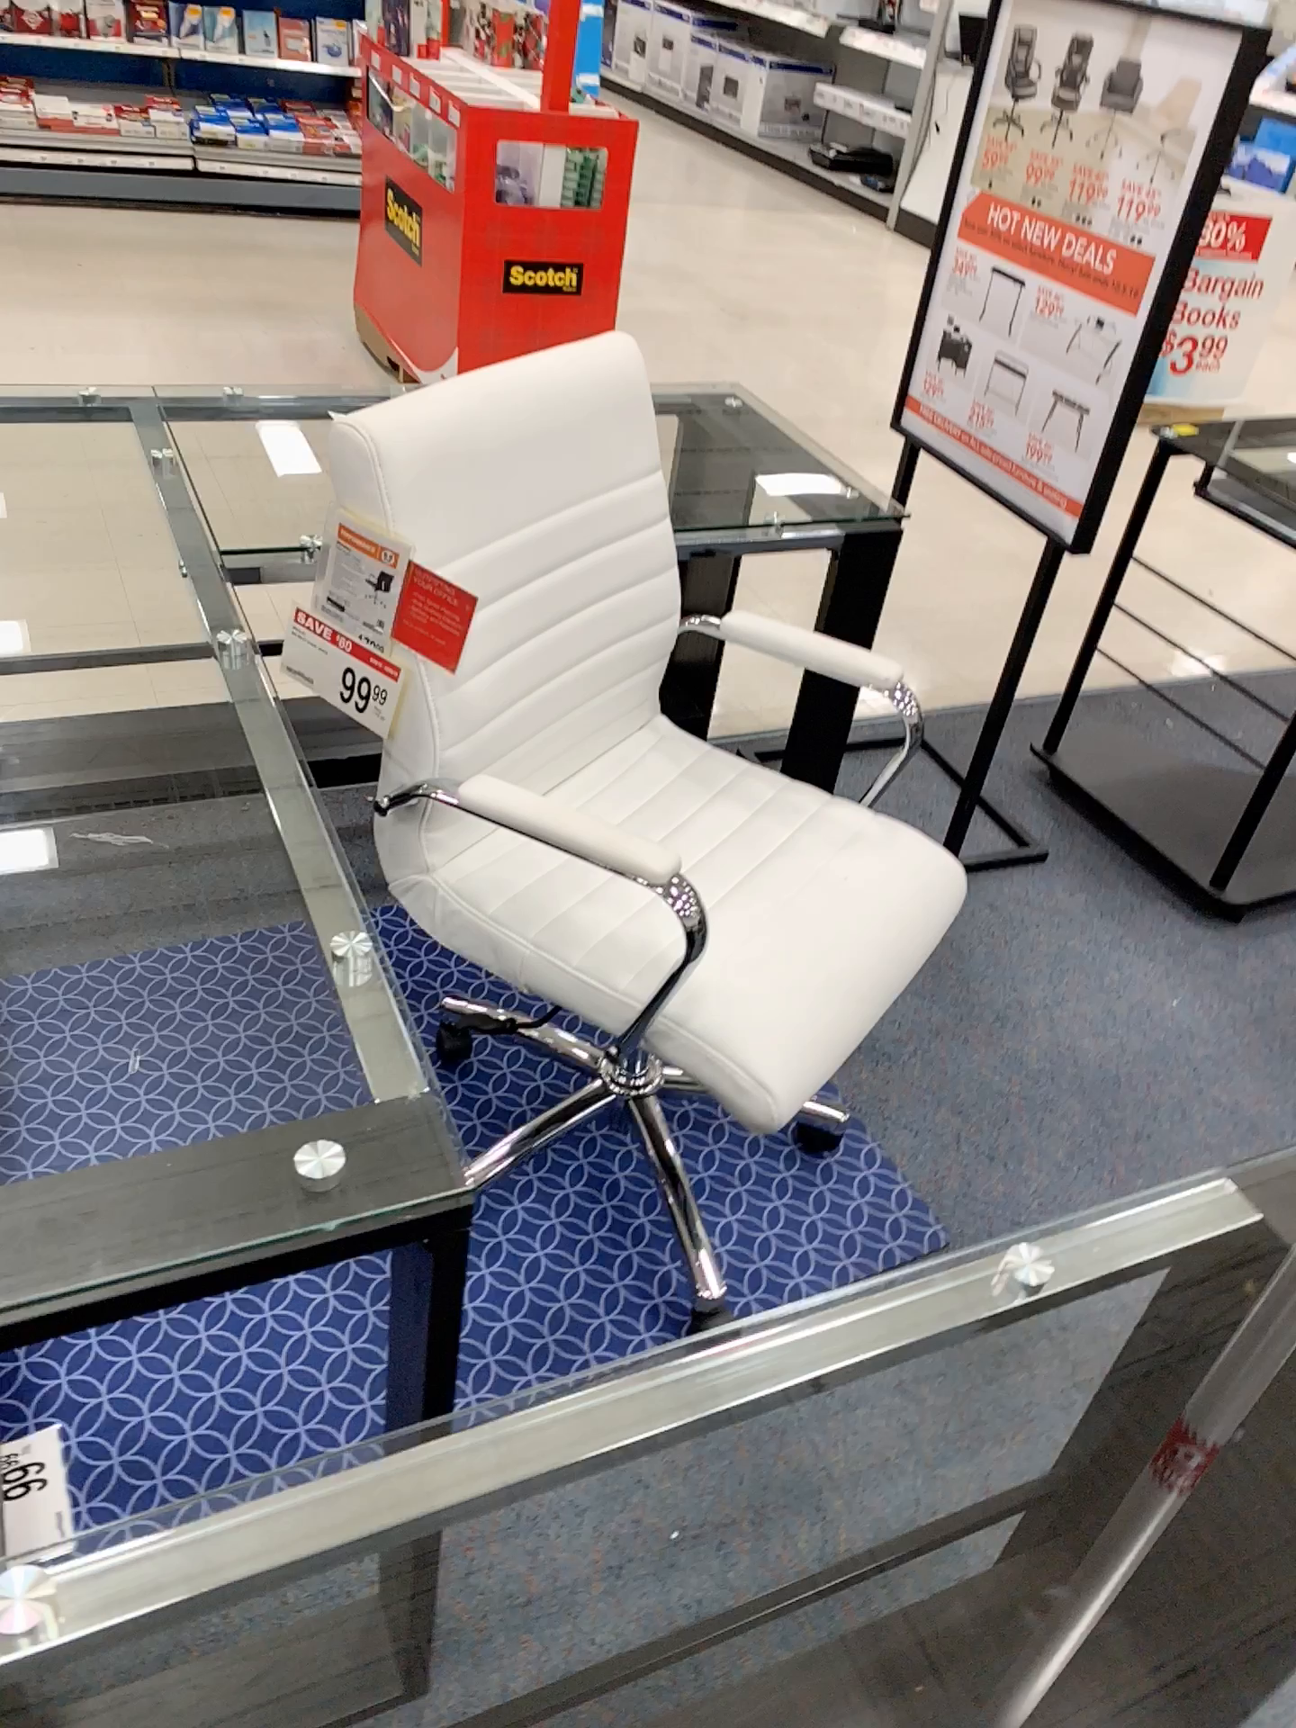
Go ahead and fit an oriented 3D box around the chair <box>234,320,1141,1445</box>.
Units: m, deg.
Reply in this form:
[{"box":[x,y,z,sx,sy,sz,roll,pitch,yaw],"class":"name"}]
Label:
[{"box":[0.009,-0.002,1.539,0.662,0.963,0.617,25,39,20],"class":"chair"}]
